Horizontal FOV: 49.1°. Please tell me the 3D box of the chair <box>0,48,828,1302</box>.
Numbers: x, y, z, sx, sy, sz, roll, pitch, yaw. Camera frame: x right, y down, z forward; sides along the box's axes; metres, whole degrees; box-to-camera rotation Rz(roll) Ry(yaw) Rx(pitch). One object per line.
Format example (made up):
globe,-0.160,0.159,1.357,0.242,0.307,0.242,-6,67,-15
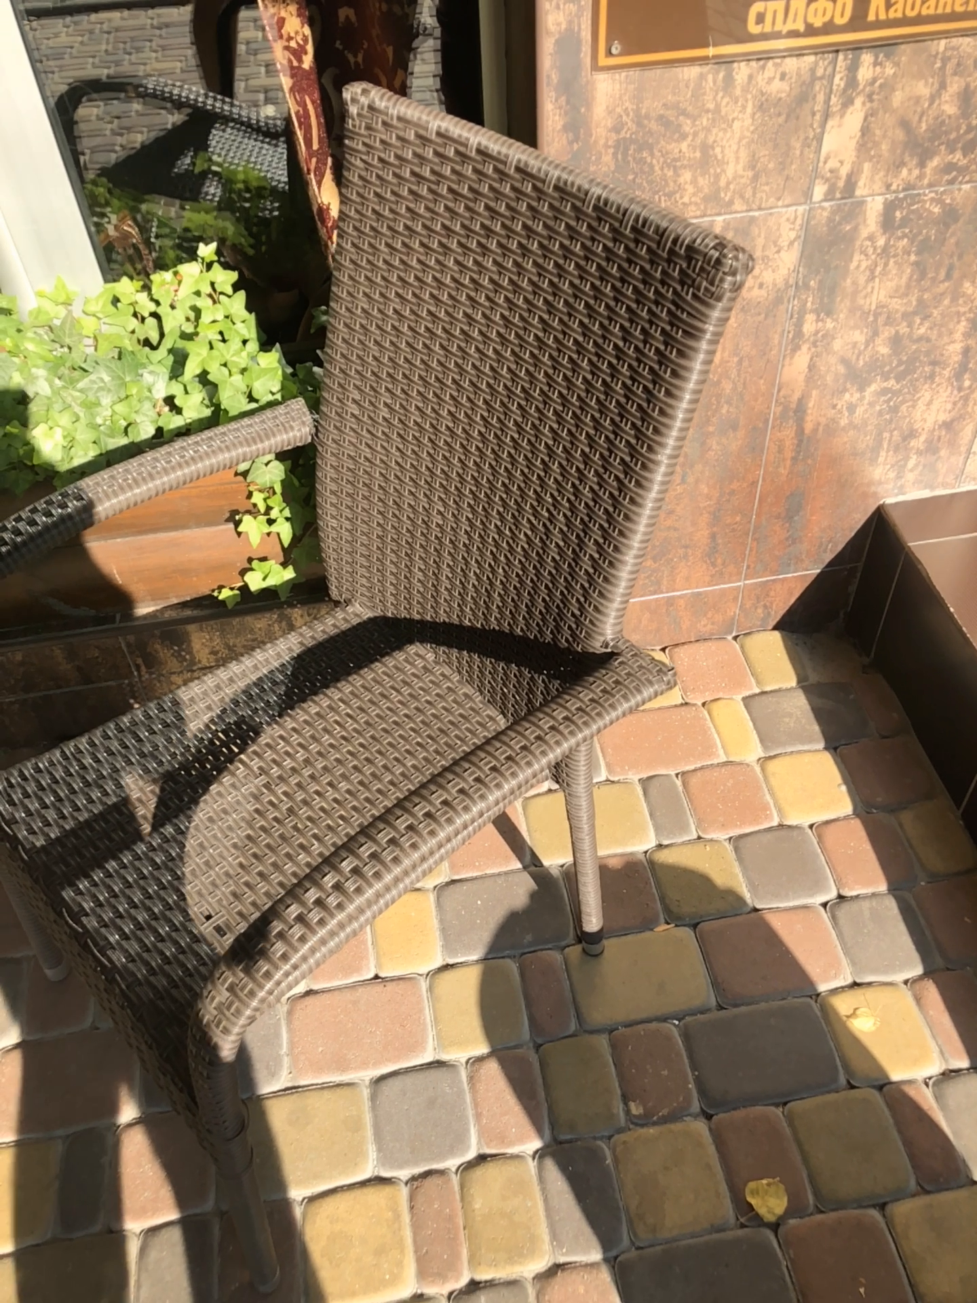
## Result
chair,-0.175,0.059,0.955,0.581,0.847,0.521,-33,54,-26
